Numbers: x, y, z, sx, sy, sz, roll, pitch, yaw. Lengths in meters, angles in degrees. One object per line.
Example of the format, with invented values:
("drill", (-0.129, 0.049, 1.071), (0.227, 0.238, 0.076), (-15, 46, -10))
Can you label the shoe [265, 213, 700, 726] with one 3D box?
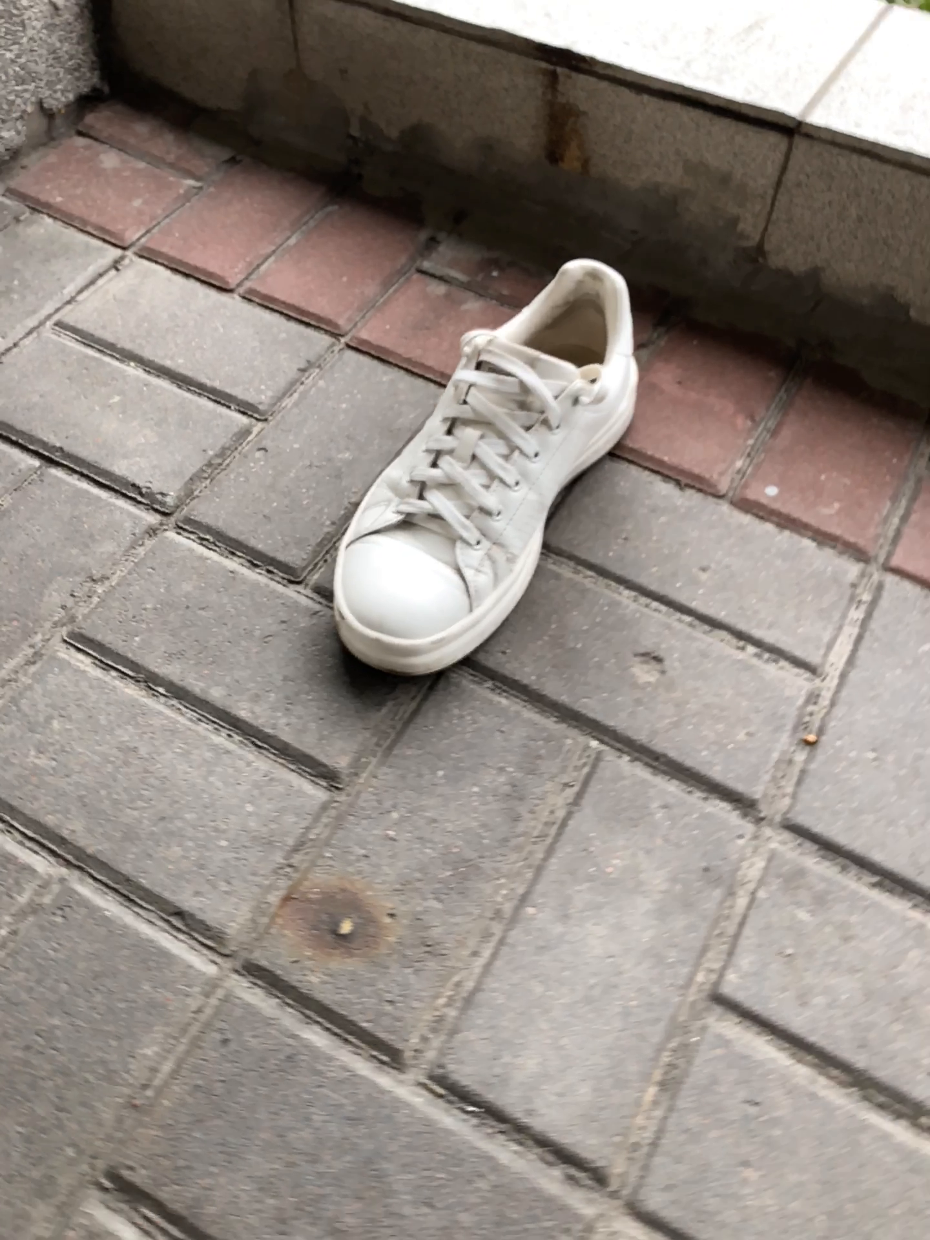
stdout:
("shoe", (0.019, -0.100, 0.609), (0.110, 0.119, 0.293), (27, 56, 14))
